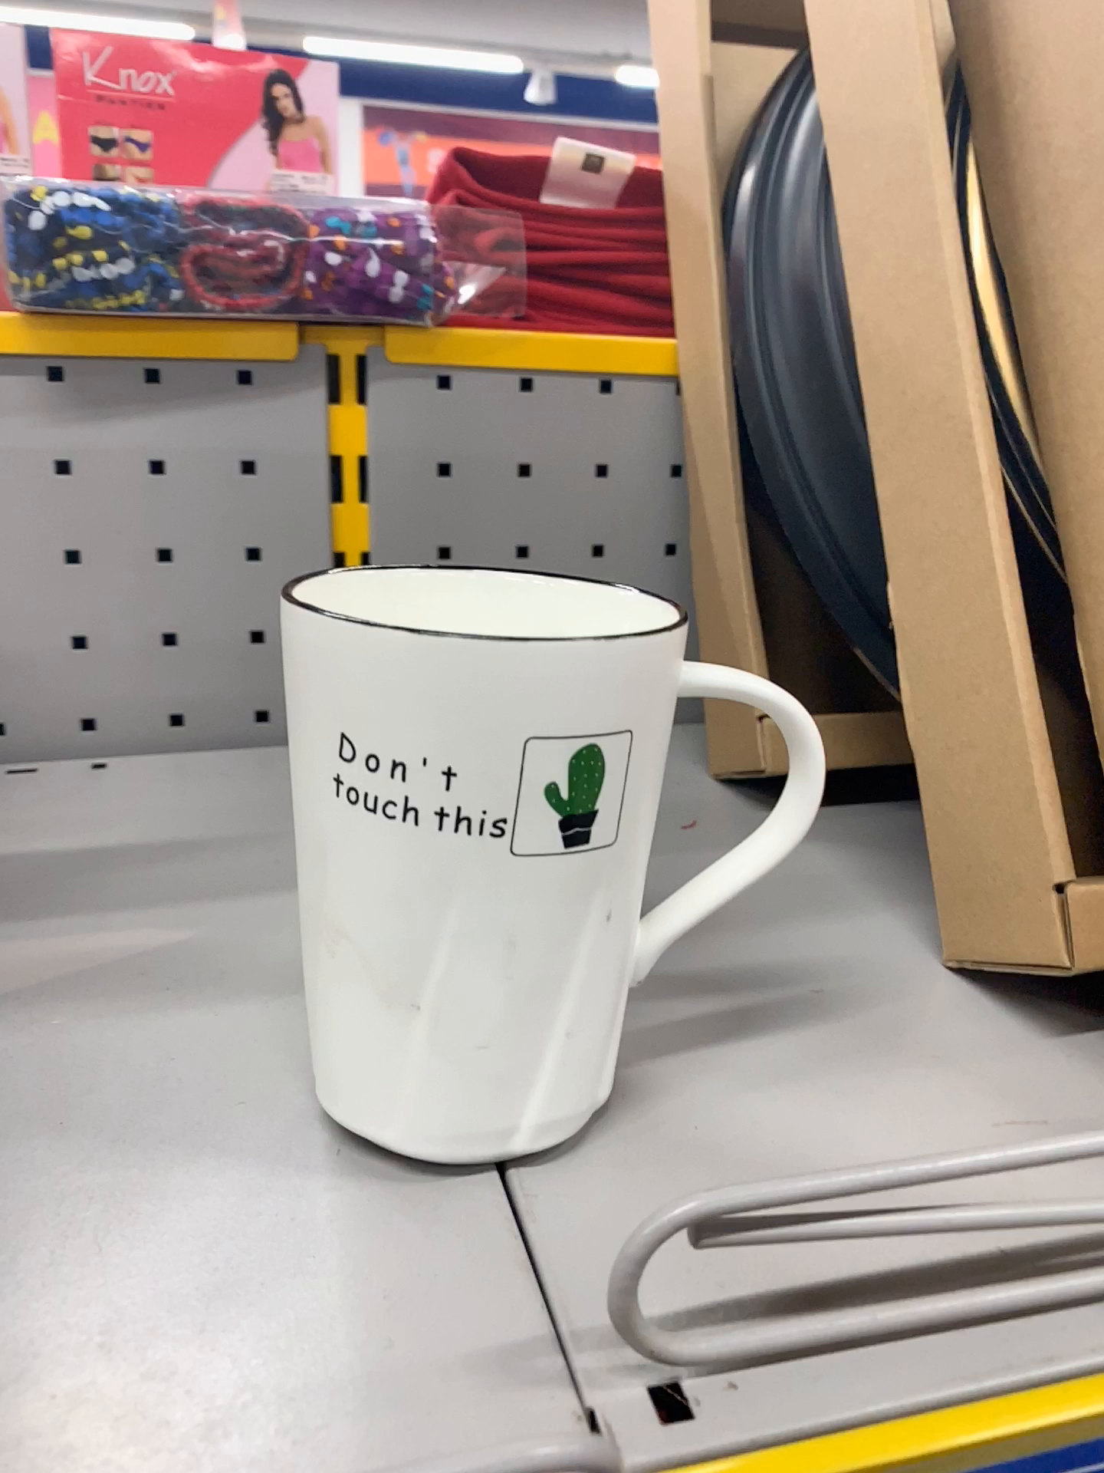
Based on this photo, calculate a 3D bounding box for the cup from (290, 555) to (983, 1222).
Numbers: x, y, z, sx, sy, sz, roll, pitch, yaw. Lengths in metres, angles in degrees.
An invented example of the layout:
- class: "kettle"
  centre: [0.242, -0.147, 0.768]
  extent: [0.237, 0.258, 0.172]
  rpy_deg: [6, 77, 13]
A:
- class: "cup"
  centre: [0.008, 0.025, 0.268]
  extent: [0.130, 0.120, 0.090]
  rpy_deg: [-2, 18, -11]
